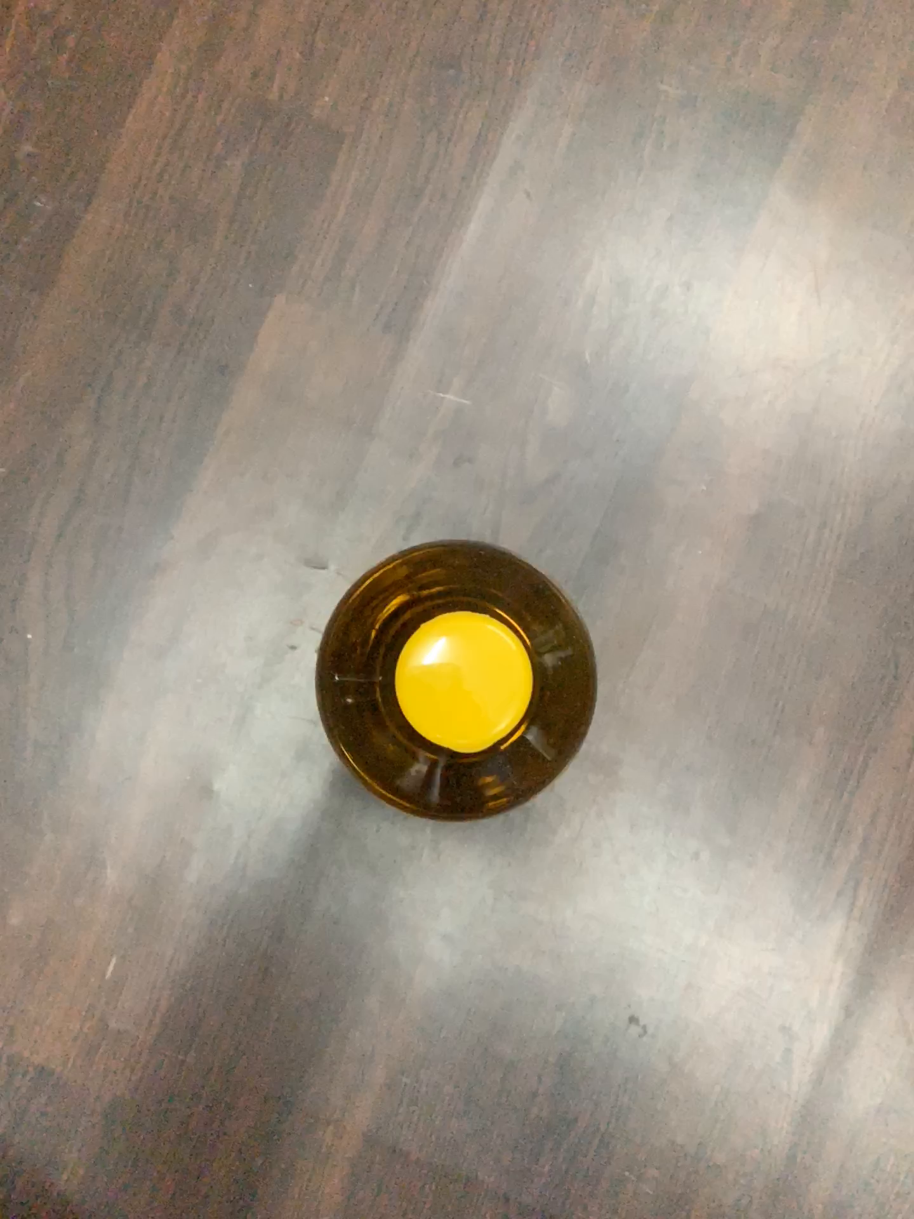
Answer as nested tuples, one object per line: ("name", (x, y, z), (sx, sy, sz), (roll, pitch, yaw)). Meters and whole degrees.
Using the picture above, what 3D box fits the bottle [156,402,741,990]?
("bottle", (-0.003, 0.025, 0.315), (0.090, 0.220, 0.090), (0, 86, -1))
